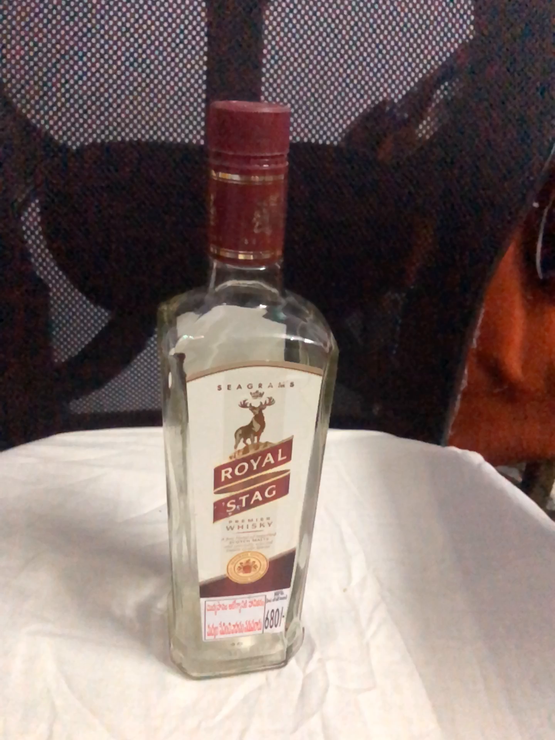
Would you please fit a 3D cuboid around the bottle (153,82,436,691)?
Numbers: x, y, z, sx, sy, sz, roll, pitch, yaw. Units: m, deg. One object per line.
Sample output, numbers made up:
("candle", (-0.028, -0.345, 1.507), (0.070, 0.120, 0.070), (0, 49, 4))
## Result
("bottle", (-0.011, 0.027, 0.283), (0.090, 0.279, 0.060), (0, 29, -11))
